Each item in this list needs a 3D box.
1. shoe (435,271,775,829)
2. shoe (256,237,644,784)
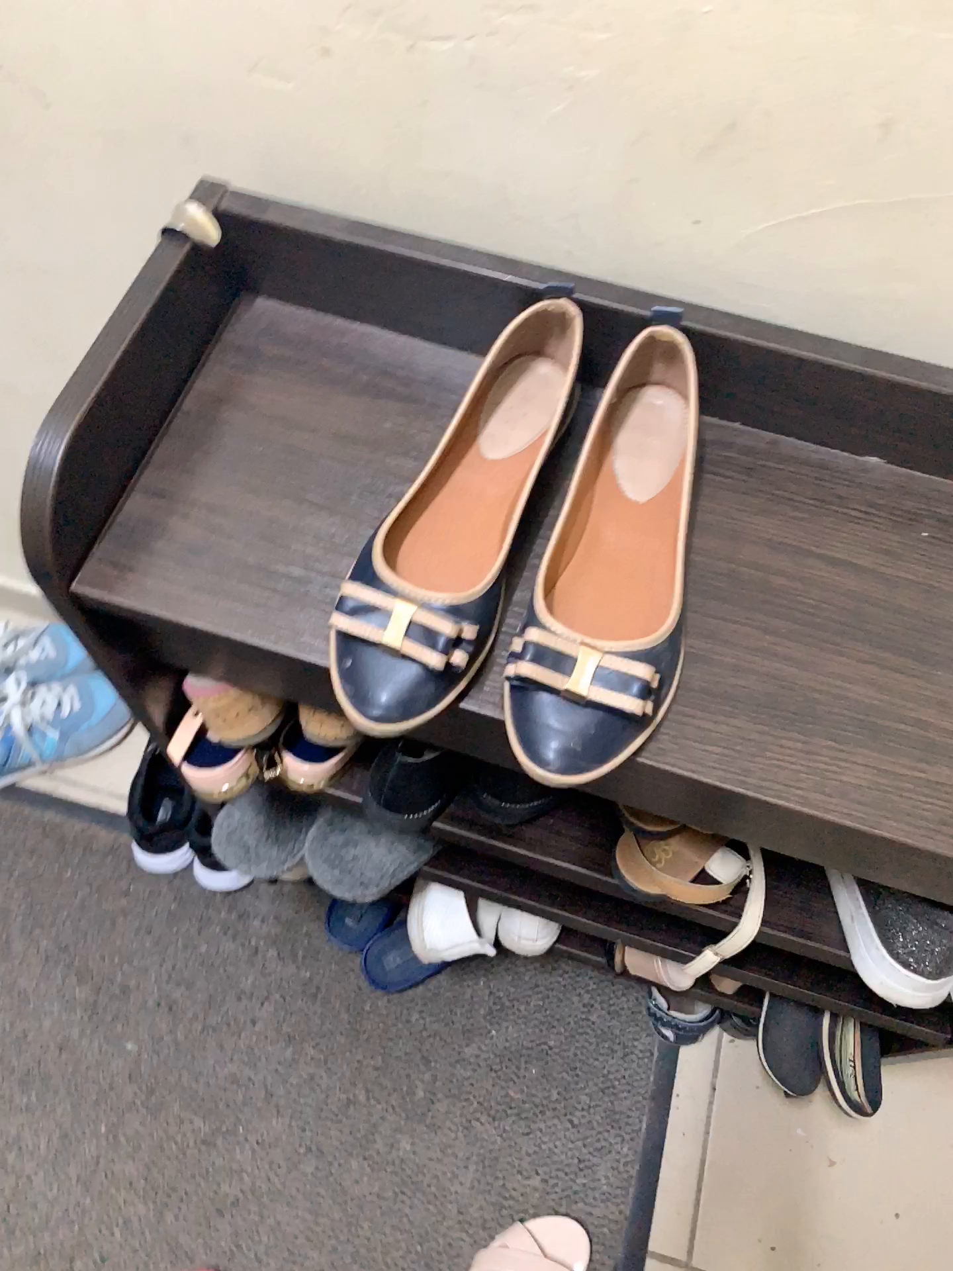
[{"bbox_3d":[0.076,-0.055,0.528,0.100,0.100,0.280,15,62,12],"label":"shoe"},{"bbox_3d":[0.000,-0.077,0.533,0.100,0.100,0.280,17,62,13],"label":"shoe"}]
